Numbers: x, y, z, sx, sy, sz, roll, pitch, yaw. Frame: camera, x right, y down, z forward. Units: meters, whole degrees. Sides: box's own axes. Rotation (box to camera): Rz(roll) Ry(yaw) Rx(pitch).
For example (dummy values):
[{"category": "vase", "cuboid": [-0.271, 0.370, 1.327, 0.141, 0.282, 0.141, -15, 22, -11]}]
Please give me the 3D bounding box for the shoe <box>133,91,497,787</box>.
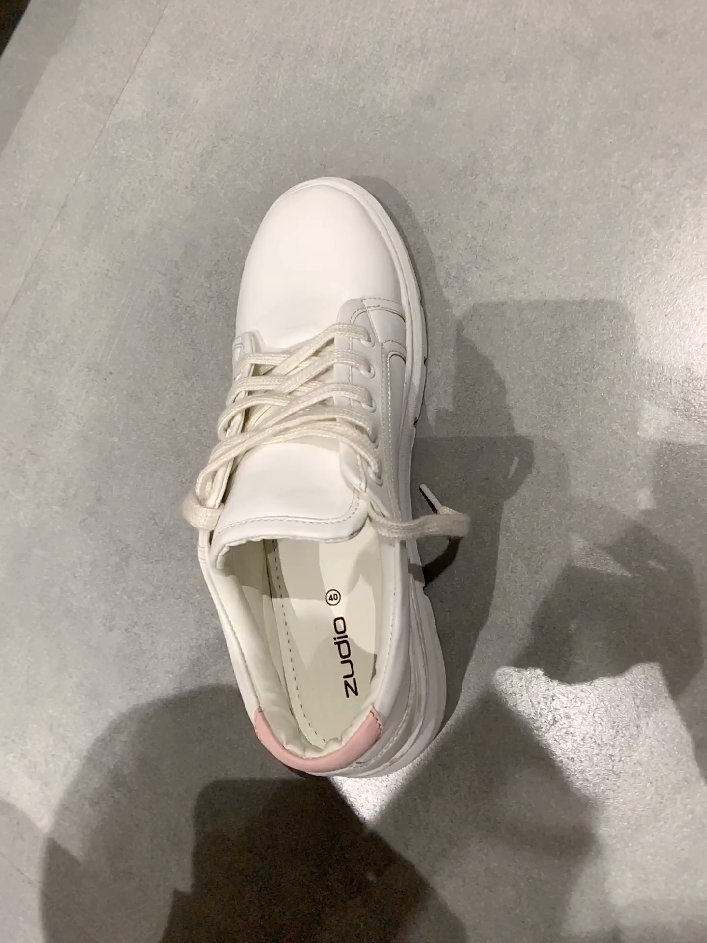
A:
[{"category": "shoe", "cuboid": [-0.015, -0.009, 0.318, 0.110, 0.100, 0.250, -9, 78, 16]}]
